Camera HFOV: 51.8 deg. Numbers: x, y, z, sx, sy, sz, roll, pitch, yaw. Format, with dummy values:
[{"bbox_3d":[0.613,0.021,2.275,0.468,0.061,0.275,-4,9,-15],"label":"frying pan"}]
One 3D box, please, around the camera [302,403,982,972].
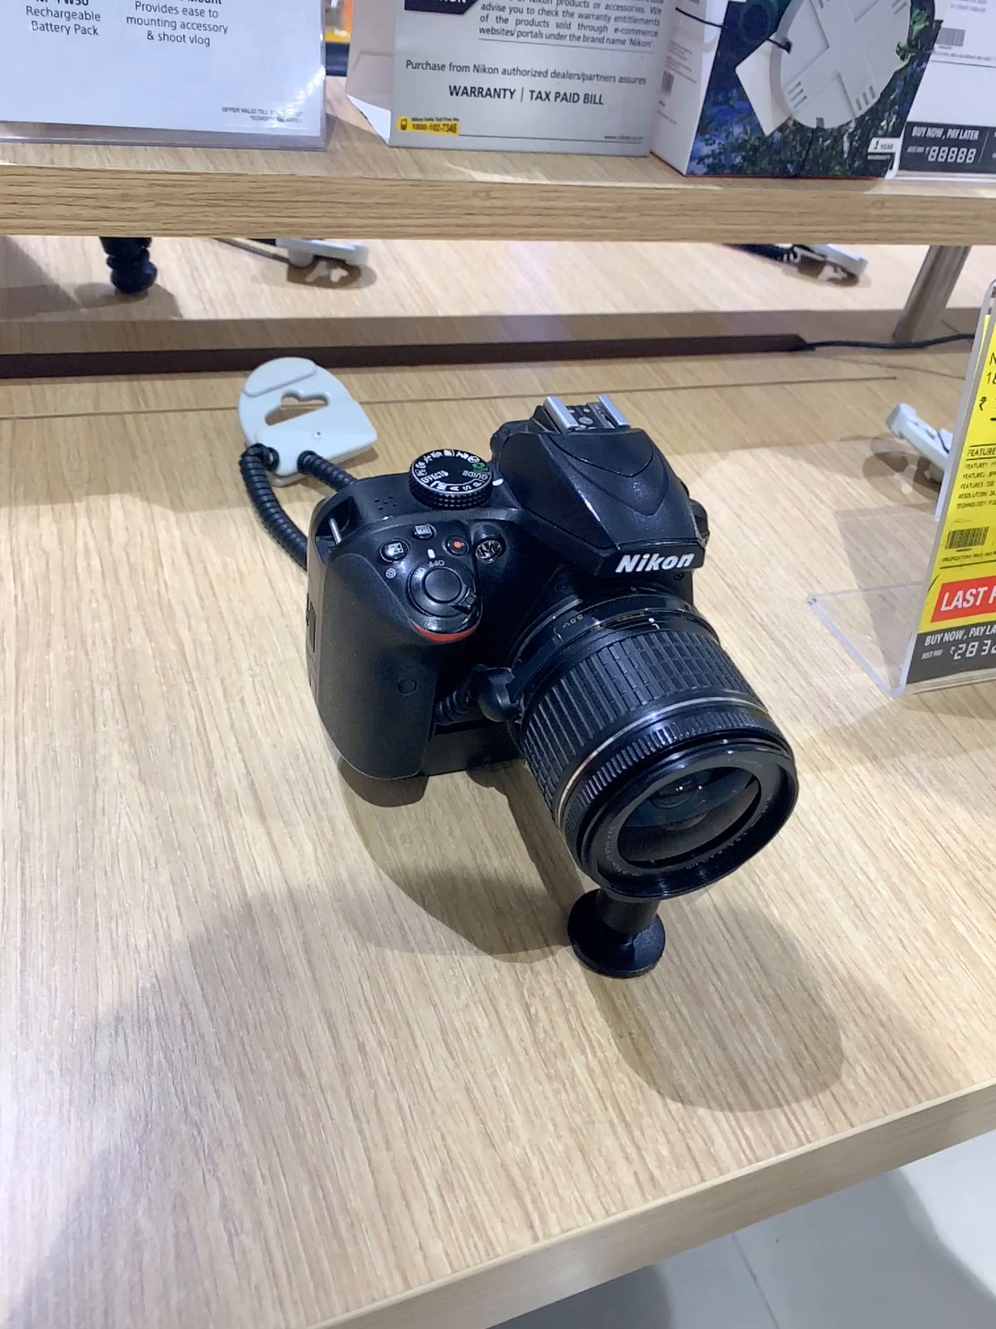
[{"bbox_3d":[0.023,-0.003,0.242,0.110,0.073,0.100,-7,44,-24],"label":"camera"}]
